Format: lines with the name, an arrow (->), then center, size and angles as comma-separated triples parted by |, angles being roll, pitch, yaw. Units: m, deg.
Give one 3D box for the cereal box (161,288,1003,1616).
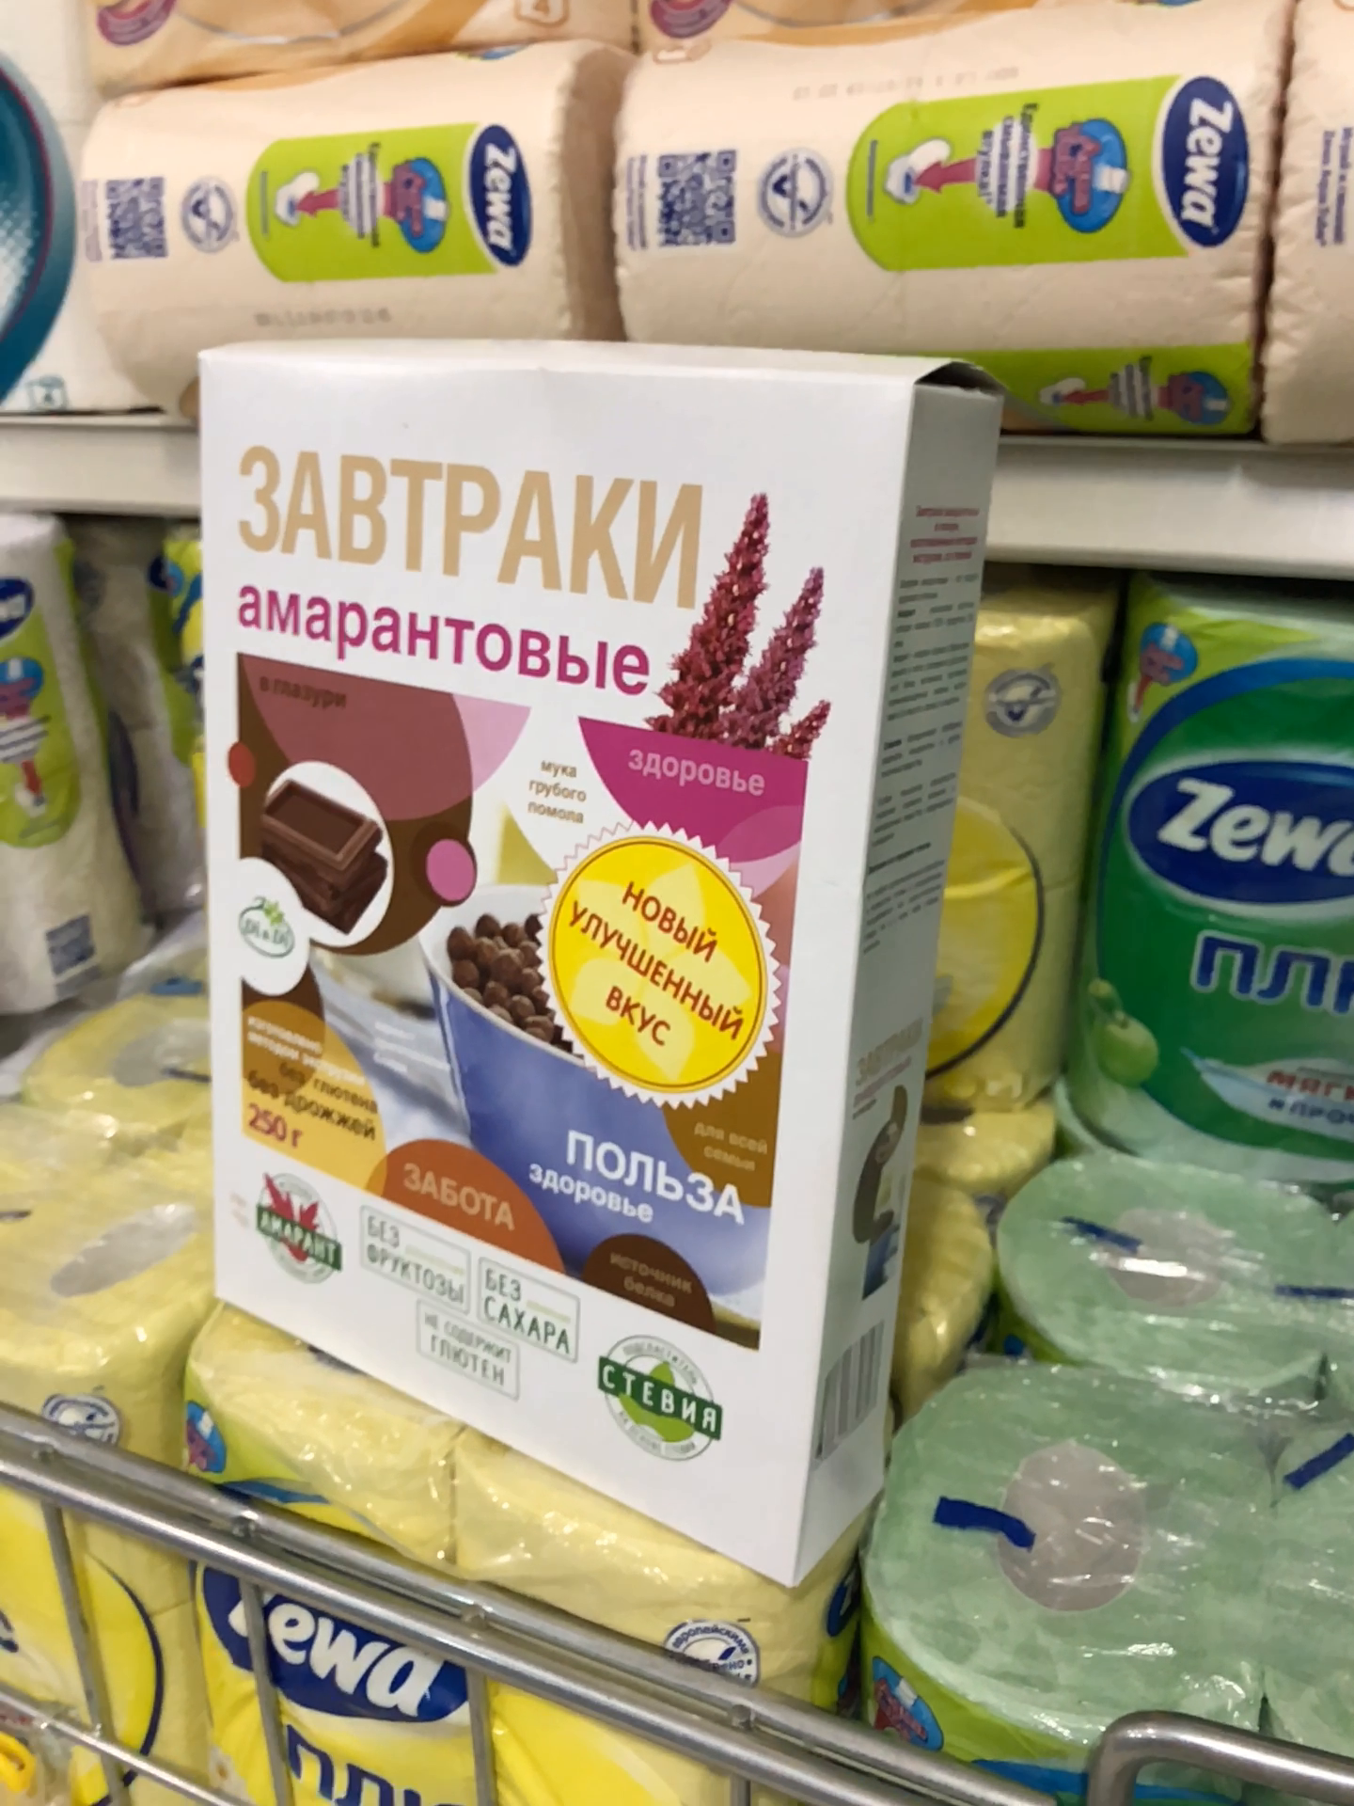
cereal box -> -0.036, 0.001, 0.360 | 0.190, 0.269, 0.050 | 13, 18, 31
